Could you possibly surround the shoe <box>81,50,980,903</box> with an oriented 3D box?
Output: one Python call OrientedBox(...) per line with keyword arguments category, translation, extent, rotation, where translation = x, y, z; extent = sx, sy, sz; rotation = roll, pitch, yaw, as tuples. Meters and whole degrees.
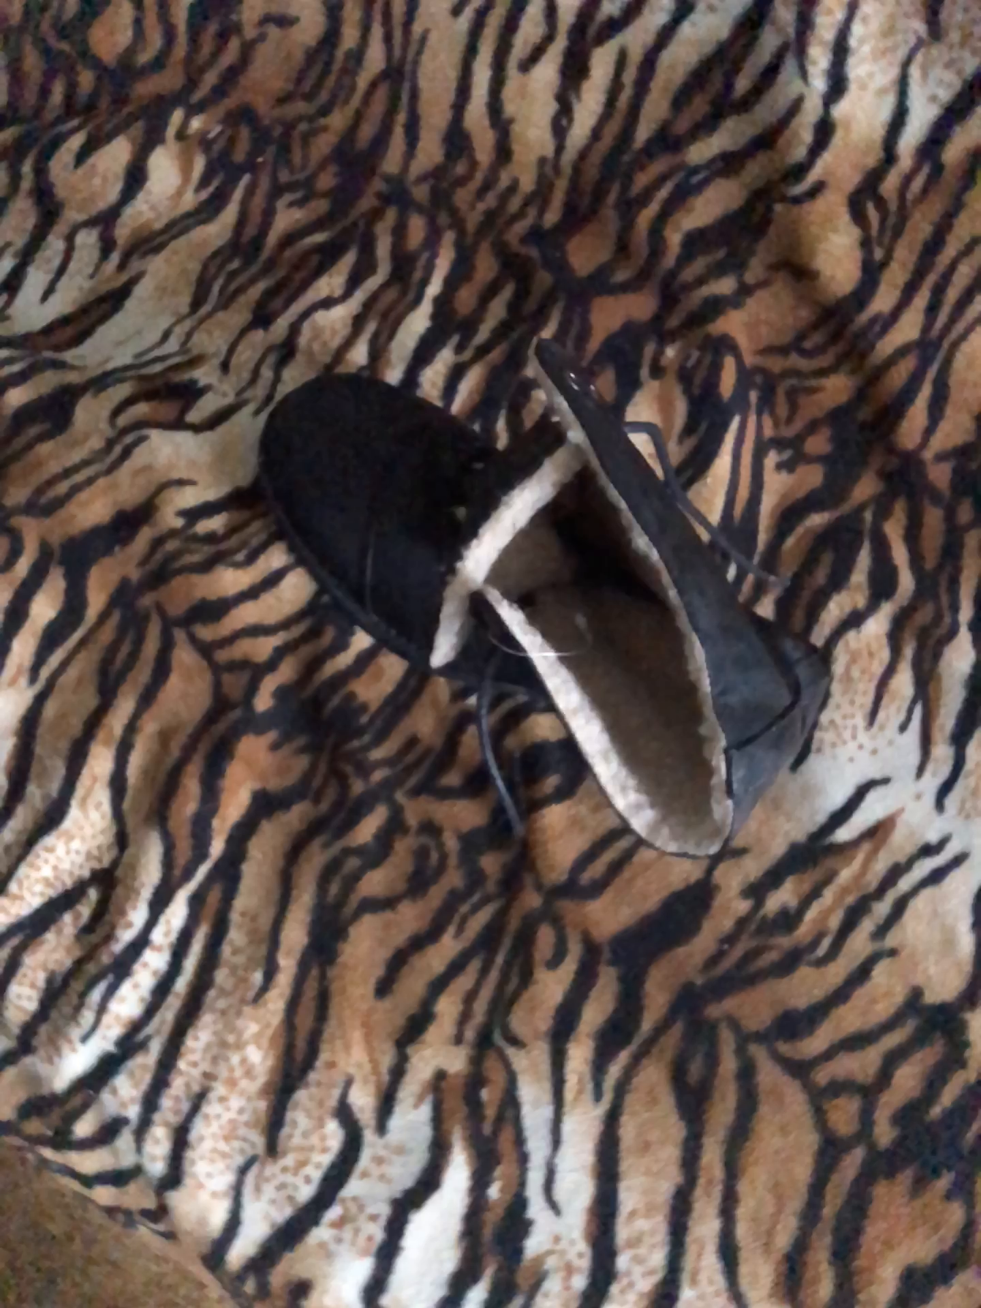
OrientedBox(category="shoe", translation=(0.024, -0.064, 0.476), extent=(0.330, 0.200, 0.140), rotation=(35, 74, 13))
